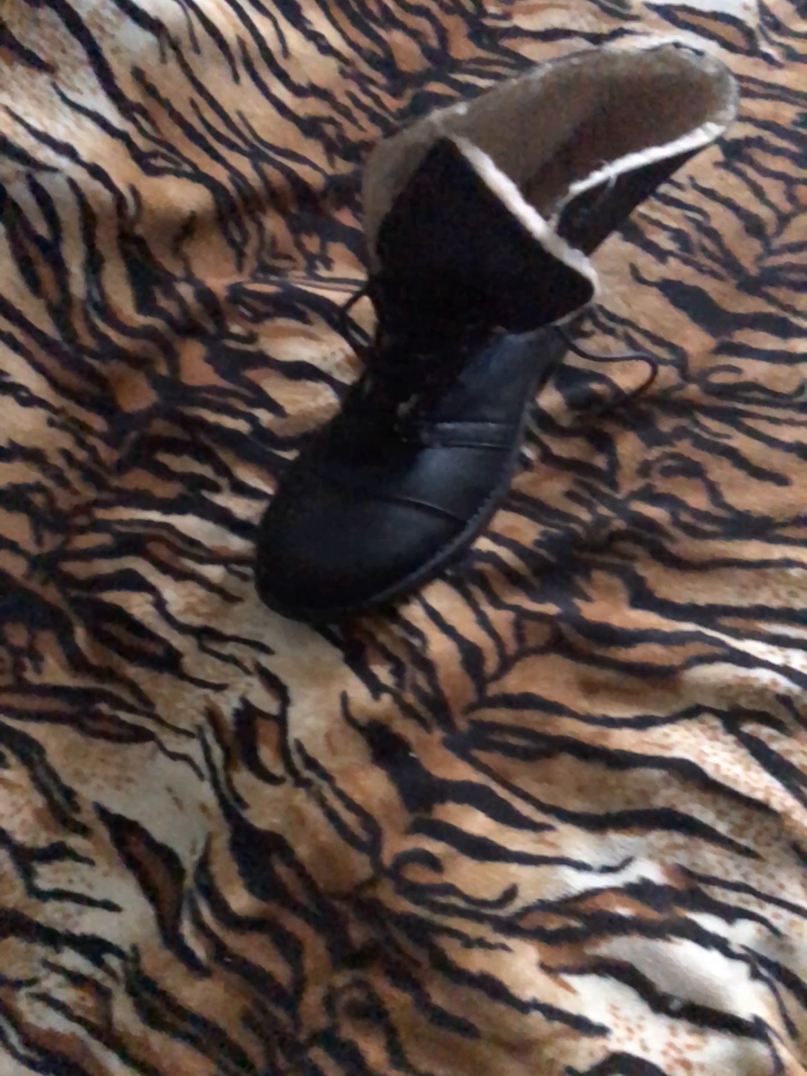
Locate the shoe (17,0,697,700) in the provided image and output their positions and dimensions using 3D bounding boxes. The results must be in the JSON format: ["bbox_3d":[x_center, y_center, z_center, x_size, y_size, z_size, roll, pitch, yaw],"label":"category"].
[{"bbox_3d":[0.001,-0.108,0.488,0.140,0.200,0.330,31,77,21],"label":"shoe"}]
